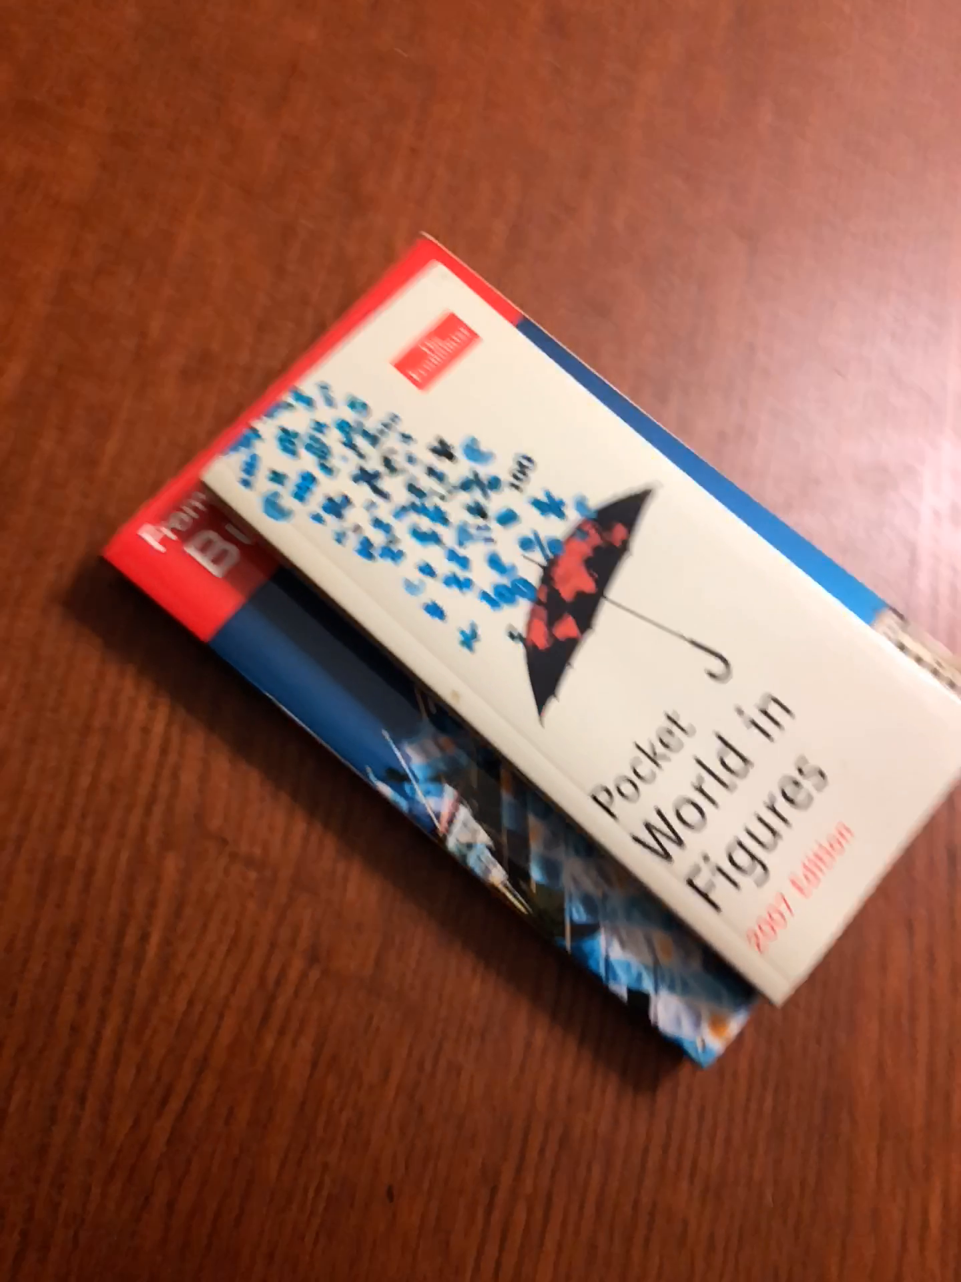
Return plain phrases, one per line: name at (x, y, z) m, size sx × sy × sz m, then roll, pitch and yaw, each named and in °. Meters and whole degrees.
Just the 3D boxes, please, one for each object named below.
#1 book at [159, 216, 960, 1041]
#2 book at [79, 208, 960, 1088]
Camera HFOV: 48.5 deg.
book at (0.028, -0.009, 0.272) m, size 0.200 × 0.020 × 0.100 m, roll 42°, pitch 75°, yaw 6°
book at (0.019, -0.007, 0.296) m, size 0.210 × 0.020 × 0.140 m, roll 40°, pitch 75°, yaw 5°
